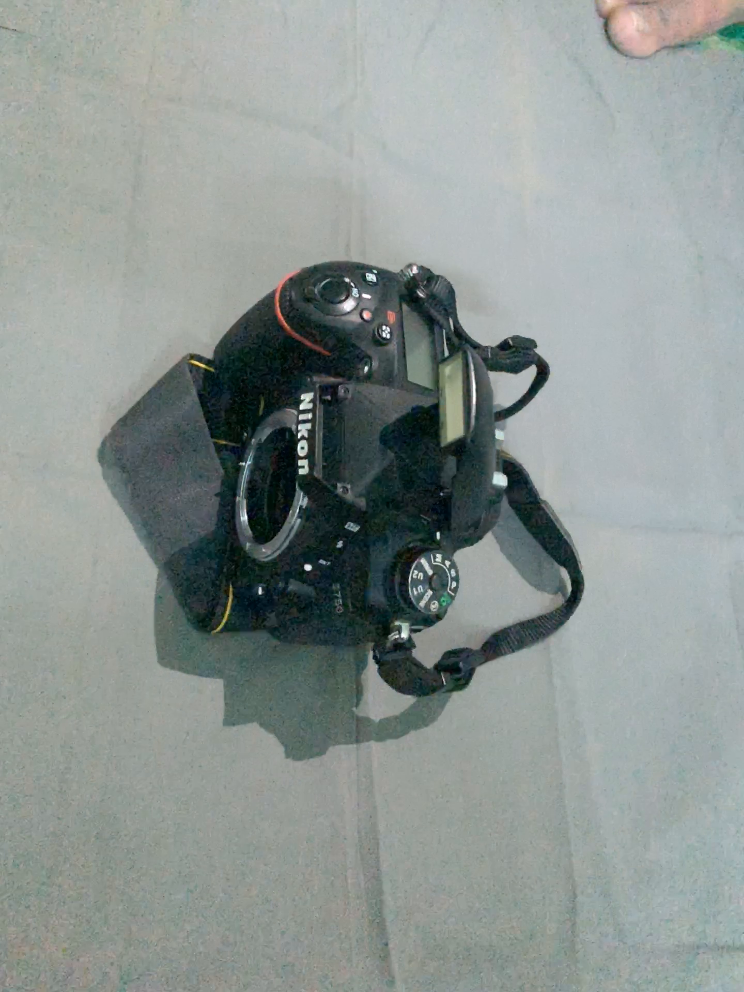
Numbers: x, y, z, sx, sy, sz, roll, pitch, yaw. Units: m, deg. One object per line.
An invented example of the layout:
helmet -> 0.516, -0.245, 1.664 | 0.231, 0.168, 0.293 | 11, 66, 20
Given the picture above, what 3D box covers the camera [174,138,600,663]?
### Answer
camera -> -0.003, -0.018, 0.288 | 0.100, 0.126, 0.140 | 10, 69, -25
